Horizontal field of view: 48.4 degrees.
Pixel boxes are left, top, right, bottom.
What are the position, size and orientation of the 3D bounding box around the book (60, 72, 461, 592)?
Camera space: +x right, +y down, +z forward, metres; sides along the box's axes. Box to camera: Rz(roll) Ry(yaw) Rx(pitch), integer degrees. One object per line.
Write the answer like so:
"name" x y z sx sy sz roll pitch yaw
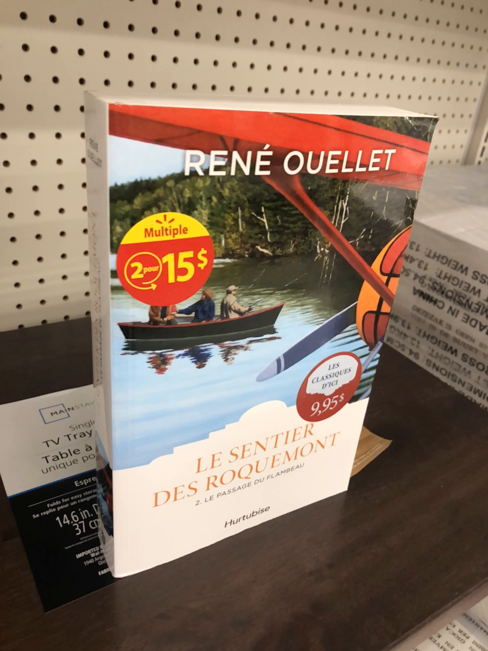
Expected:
"book" 0.001 0.002 0.267 0.153 0.215 0.065 -10 30 -29
